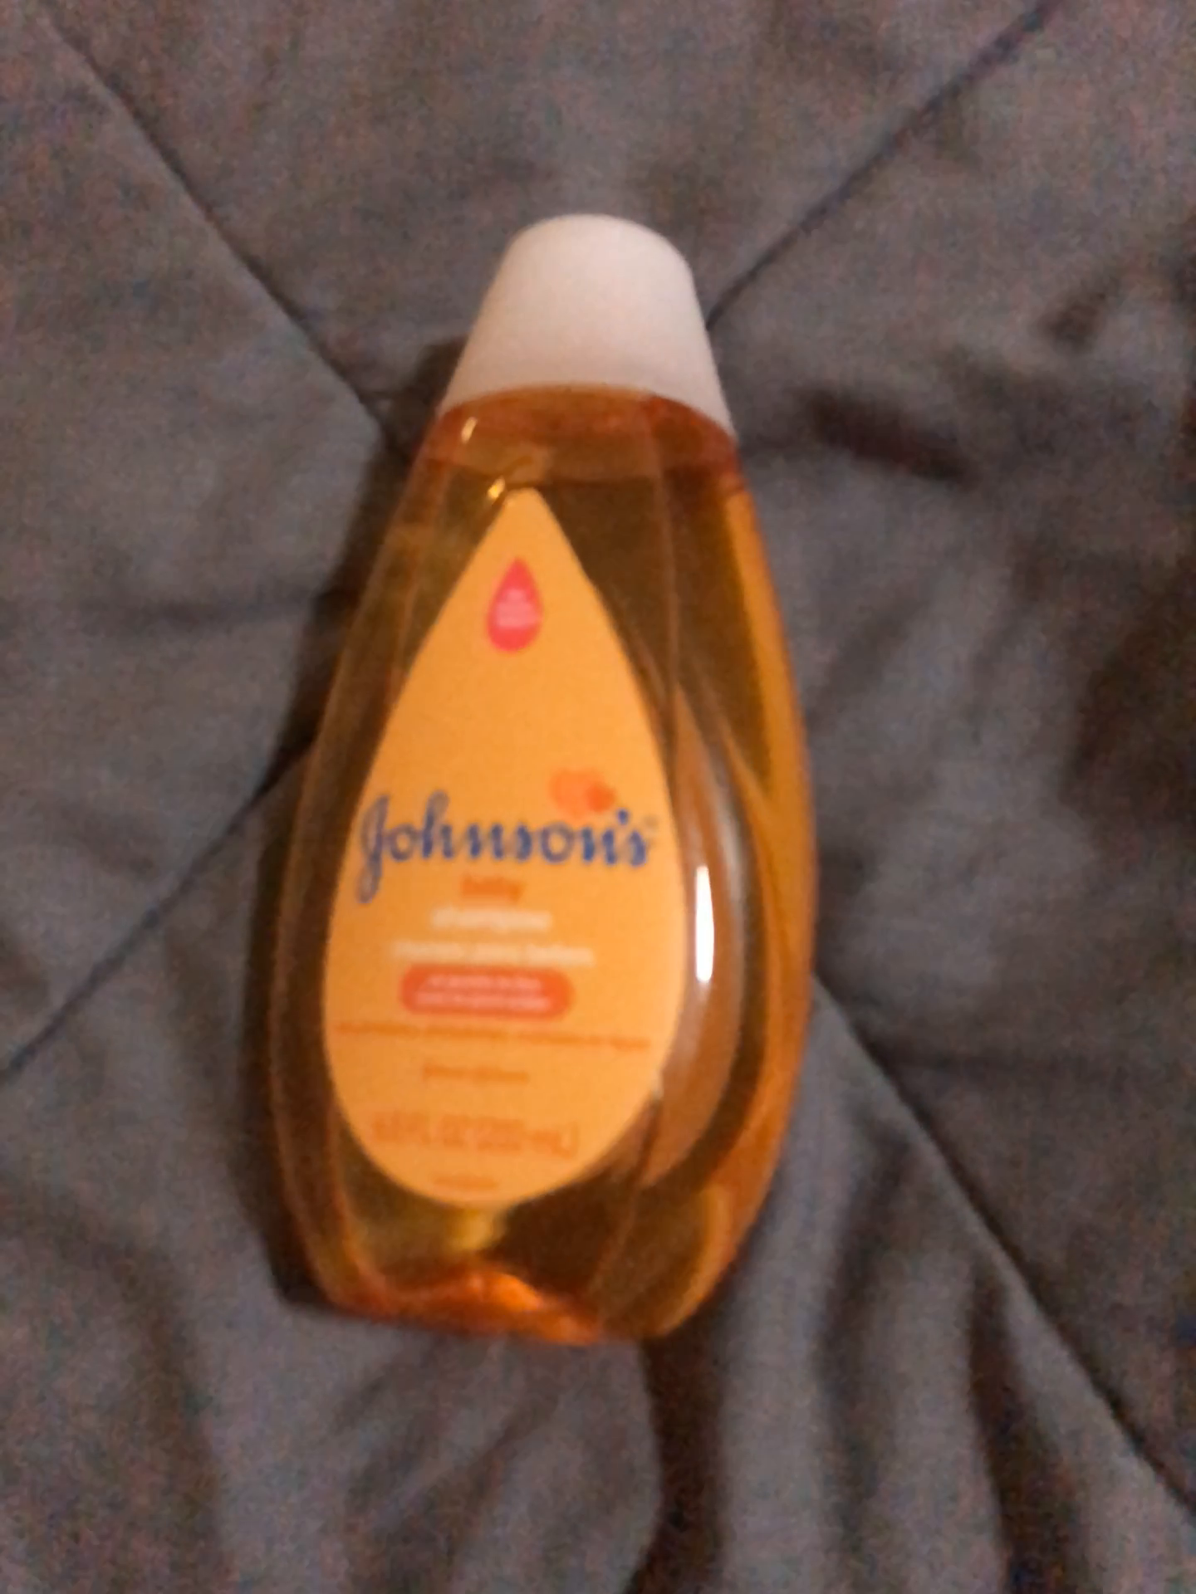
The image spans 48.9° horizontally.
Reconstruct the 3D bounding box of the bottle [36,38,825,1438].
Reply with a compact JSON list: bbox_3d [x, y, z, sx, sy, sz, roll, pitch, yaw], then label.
[{"bbox_3d":[-0.015,-0.011,0.175,0.083,0.040,0.160,0,77,14],"label":"bottle"}]
